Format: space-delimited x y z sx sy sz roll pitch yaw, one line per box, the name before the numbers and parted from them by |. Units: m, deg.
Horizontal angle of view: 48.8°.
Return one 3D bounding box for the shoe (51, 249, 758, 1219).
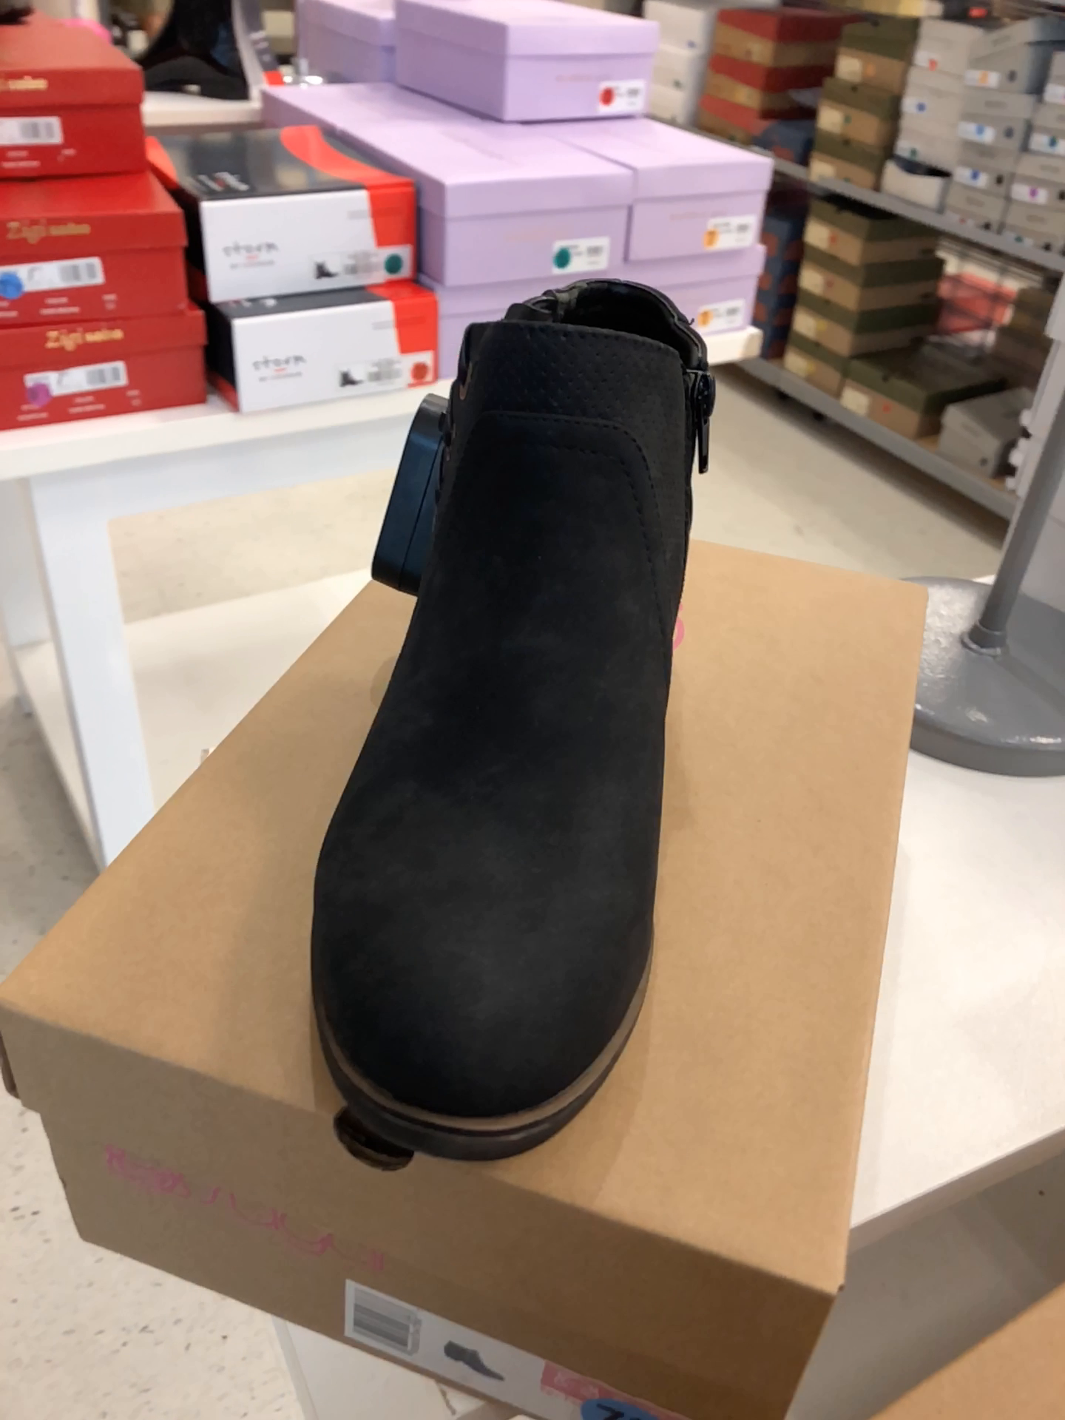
shoe | -0.006 -0.025 0.321 0.100 0.119 0.262 10 36 7
